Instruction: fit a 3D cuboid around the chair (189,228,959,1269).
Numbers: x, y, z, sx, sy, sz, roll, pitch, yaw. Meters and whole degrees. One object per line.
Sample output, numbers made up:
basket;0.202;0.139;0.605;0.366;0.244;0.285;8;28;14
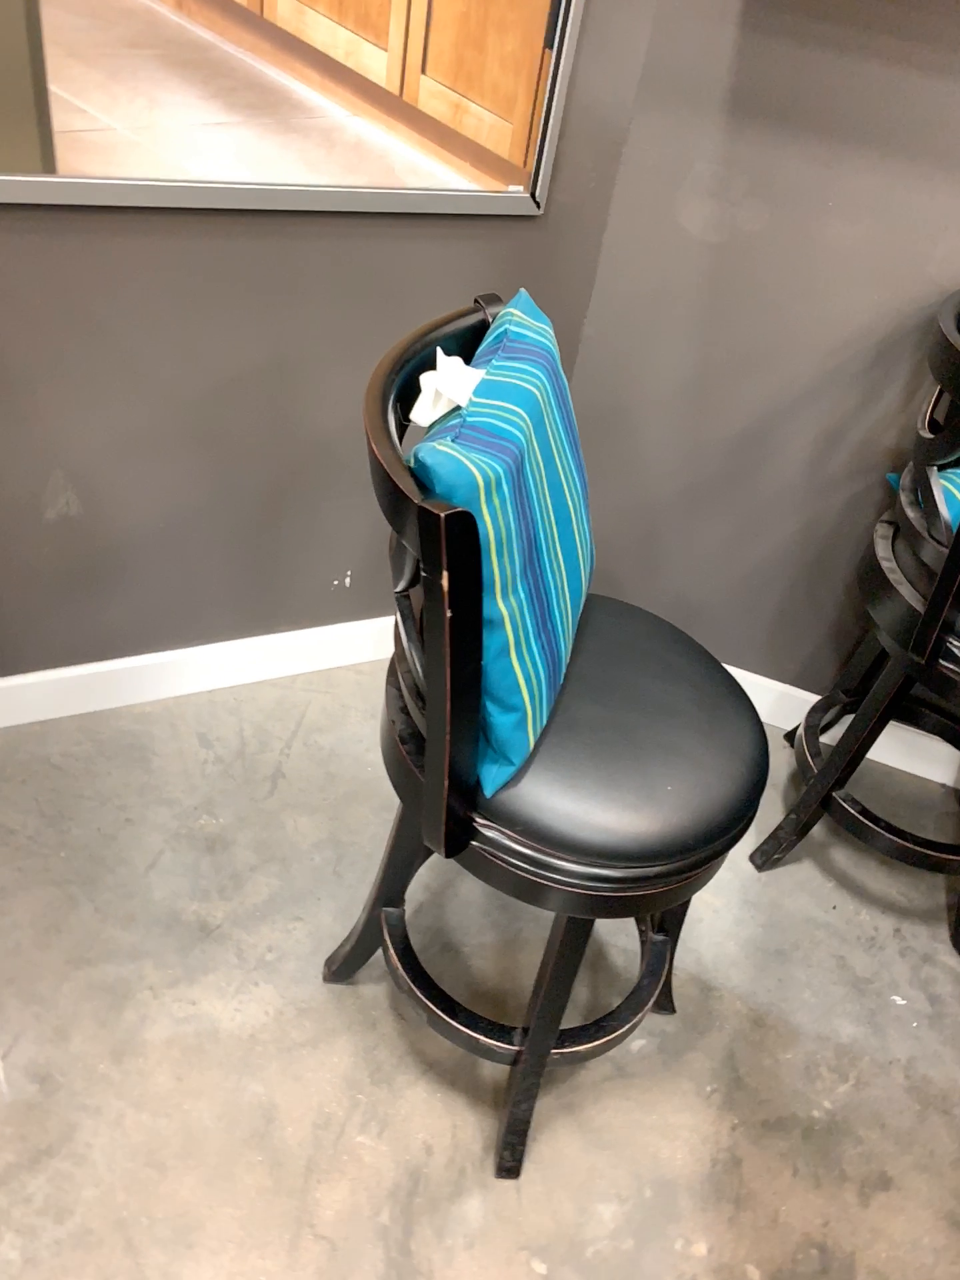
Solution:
chair;0.092;0.137;1.109;0.595;0.903;0.538;20;39;10

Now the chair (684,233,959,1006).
chair;0.787;-0.019;1.523;0.595;0.923;0.538;20;39;10
